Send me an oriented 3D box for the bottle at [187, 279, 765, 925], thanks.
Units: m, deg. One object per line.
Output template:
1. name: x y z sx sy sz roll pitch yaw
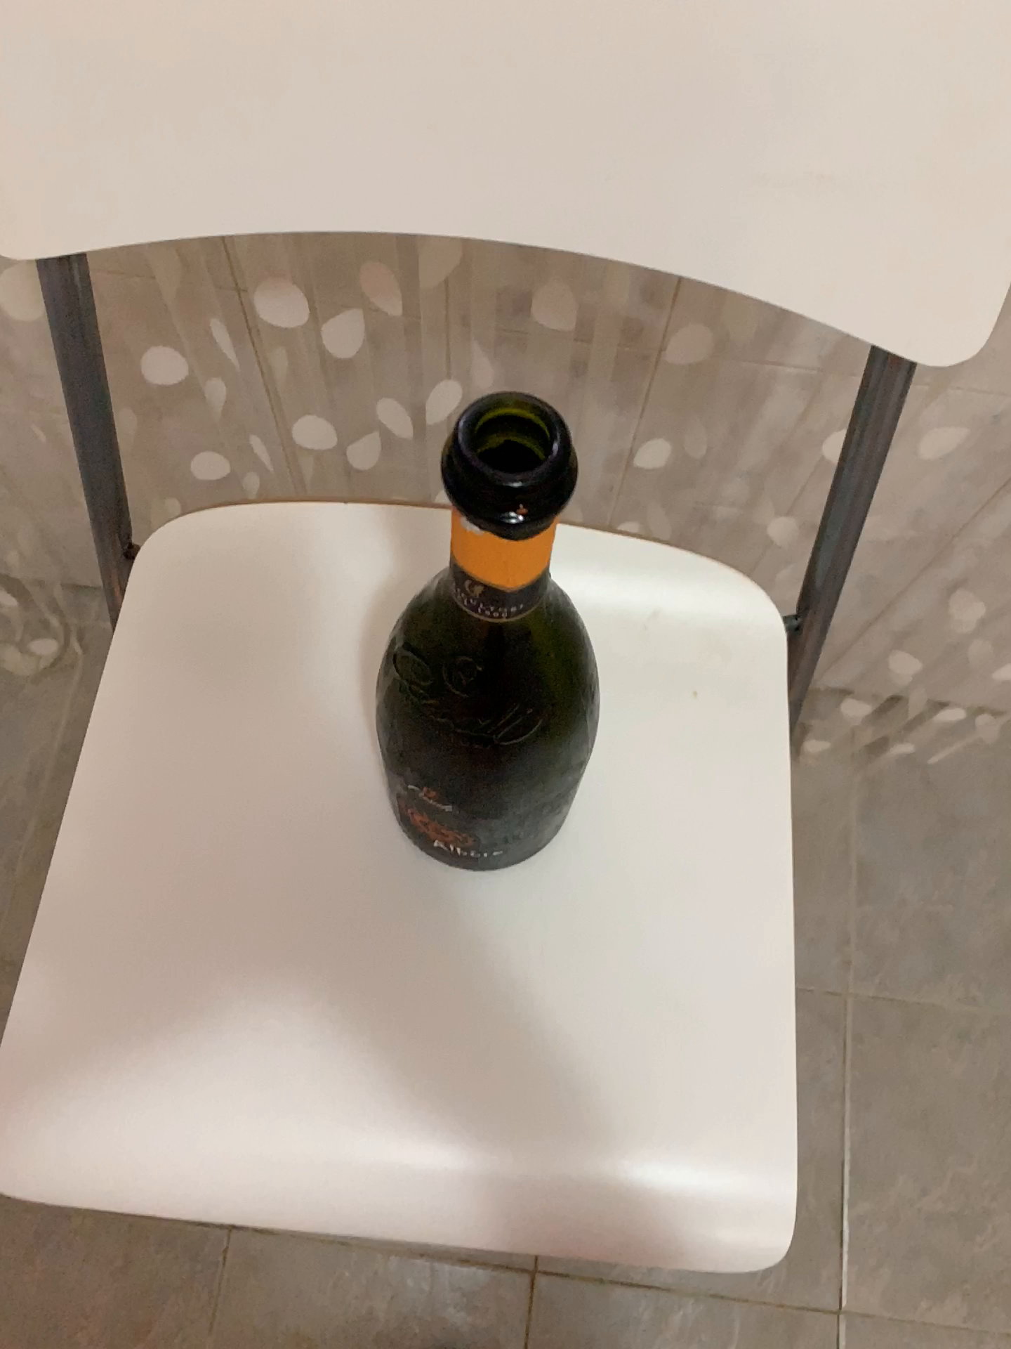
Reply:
1. bottle: -0.010 0.008 0.364 0.101 0.270 0.092 1 70 -2
